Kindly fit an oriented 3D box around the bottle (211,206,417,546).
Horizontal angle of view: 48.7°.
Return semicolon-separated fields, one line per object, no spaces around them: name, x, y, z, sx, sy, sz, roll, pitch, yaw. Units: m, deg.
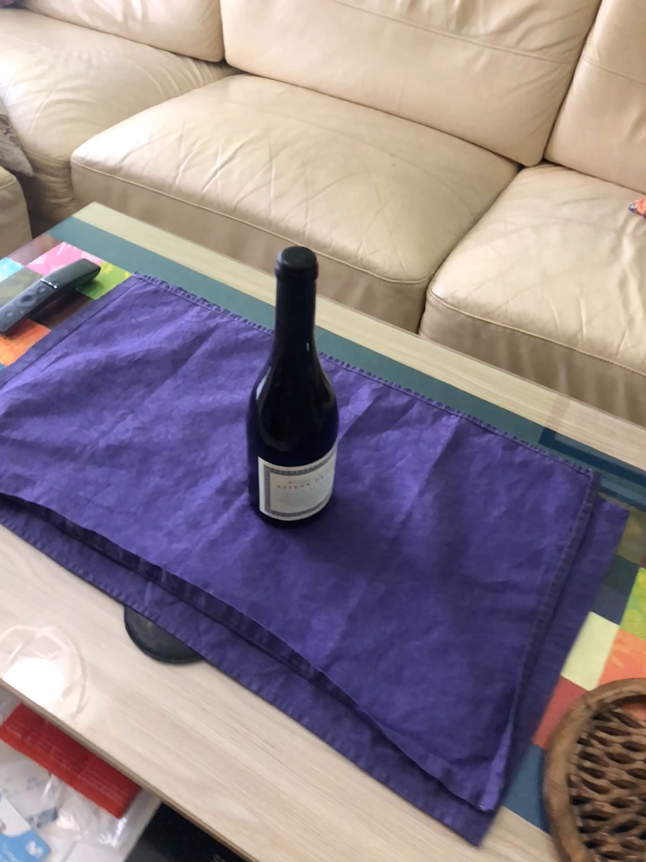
bottle;-0.015;-0.034;0.592;0.110;0.259;0.100;2;48;-3
